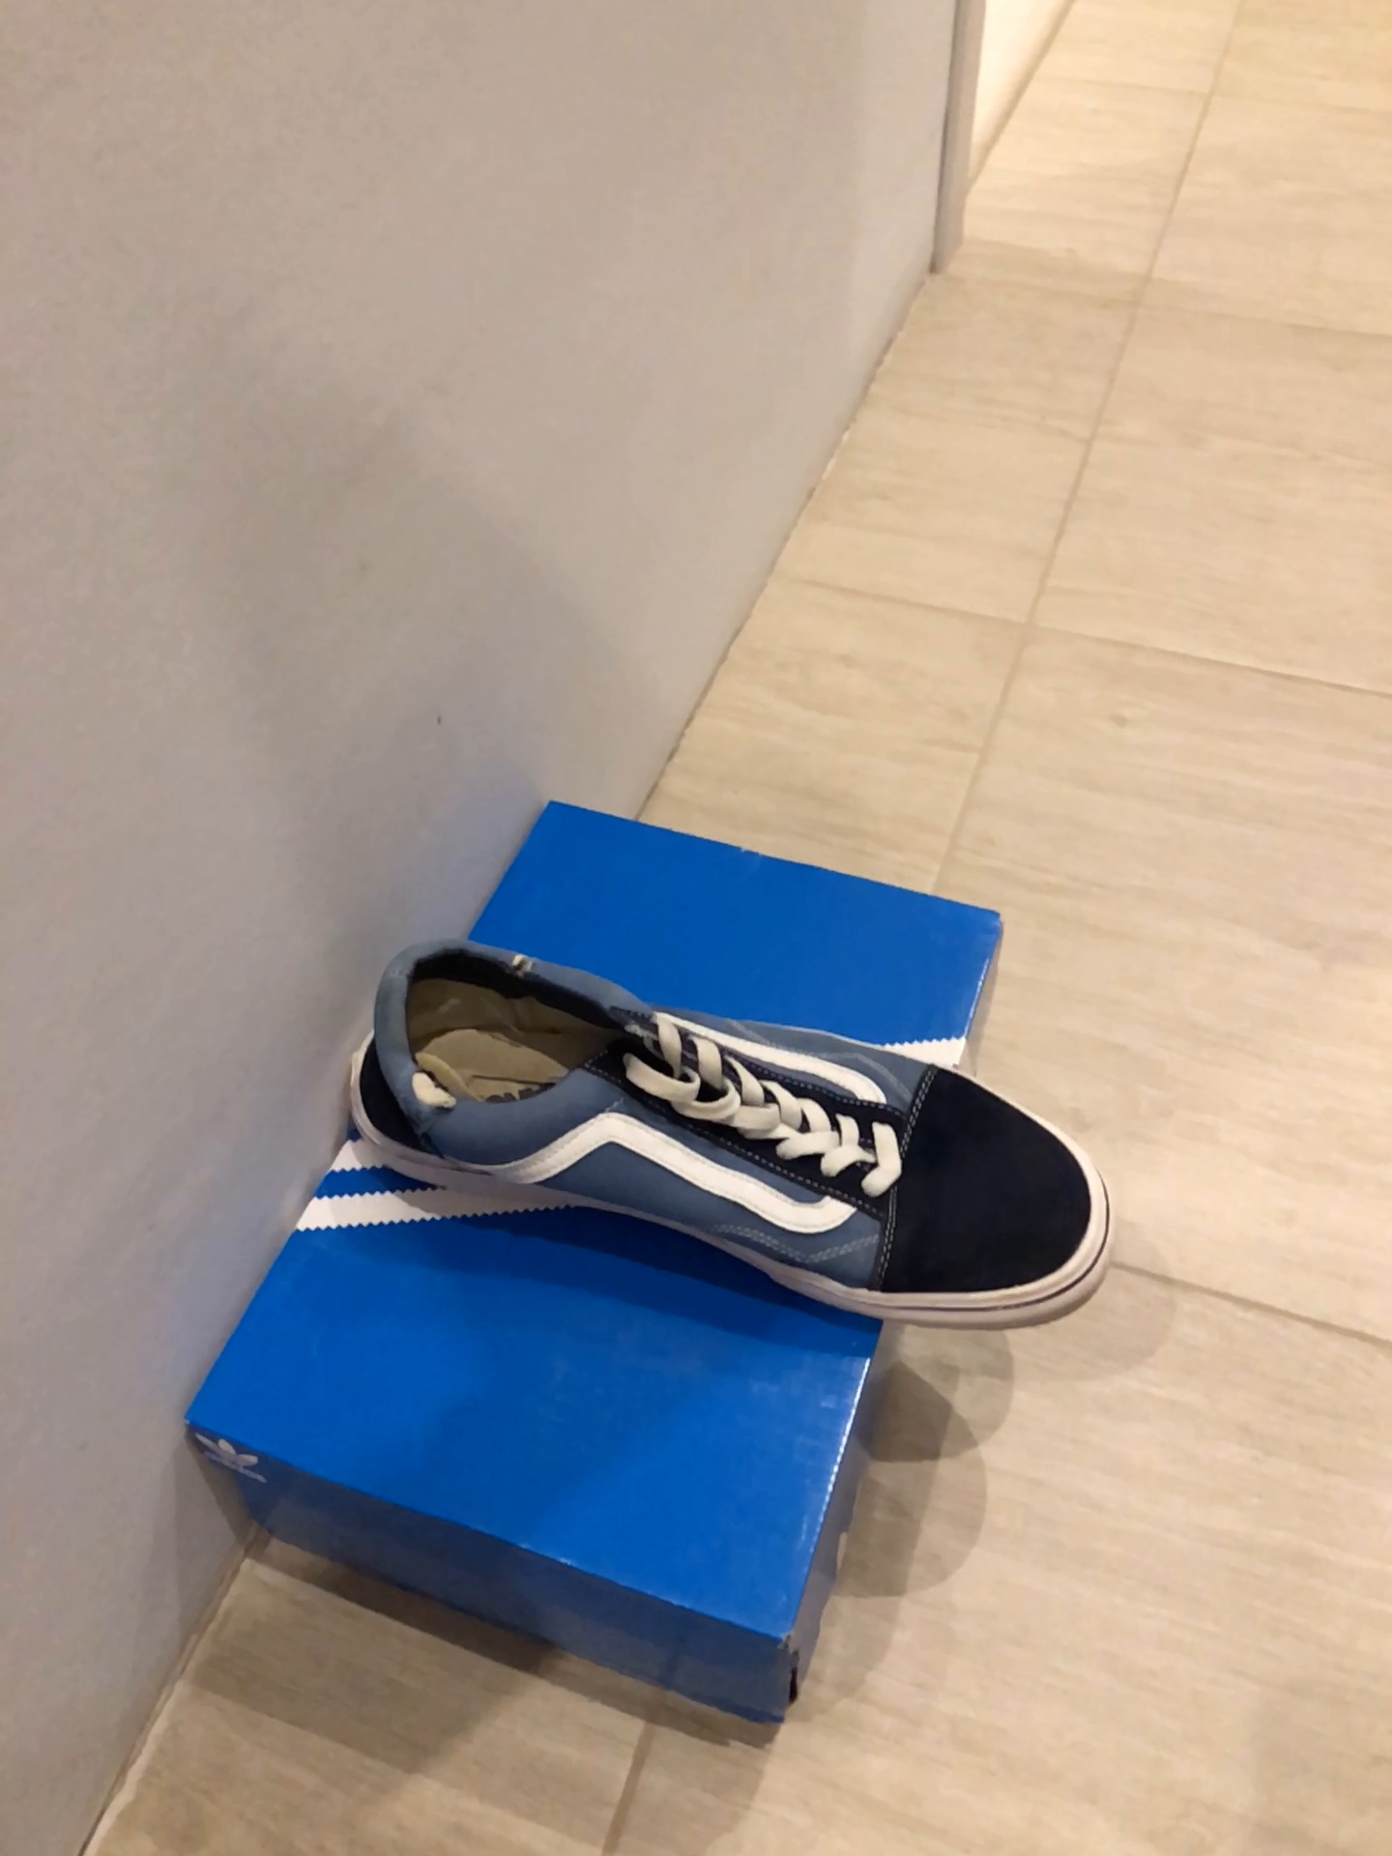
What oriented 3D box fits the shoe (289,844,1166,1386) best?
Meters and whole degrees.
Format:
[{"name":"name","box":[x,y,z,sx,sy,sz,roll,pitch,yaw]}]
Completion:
[{"name":"shoe","box":[0.014,0.062,0.549,0.280,0.079,0.111,11,50,12]}]
